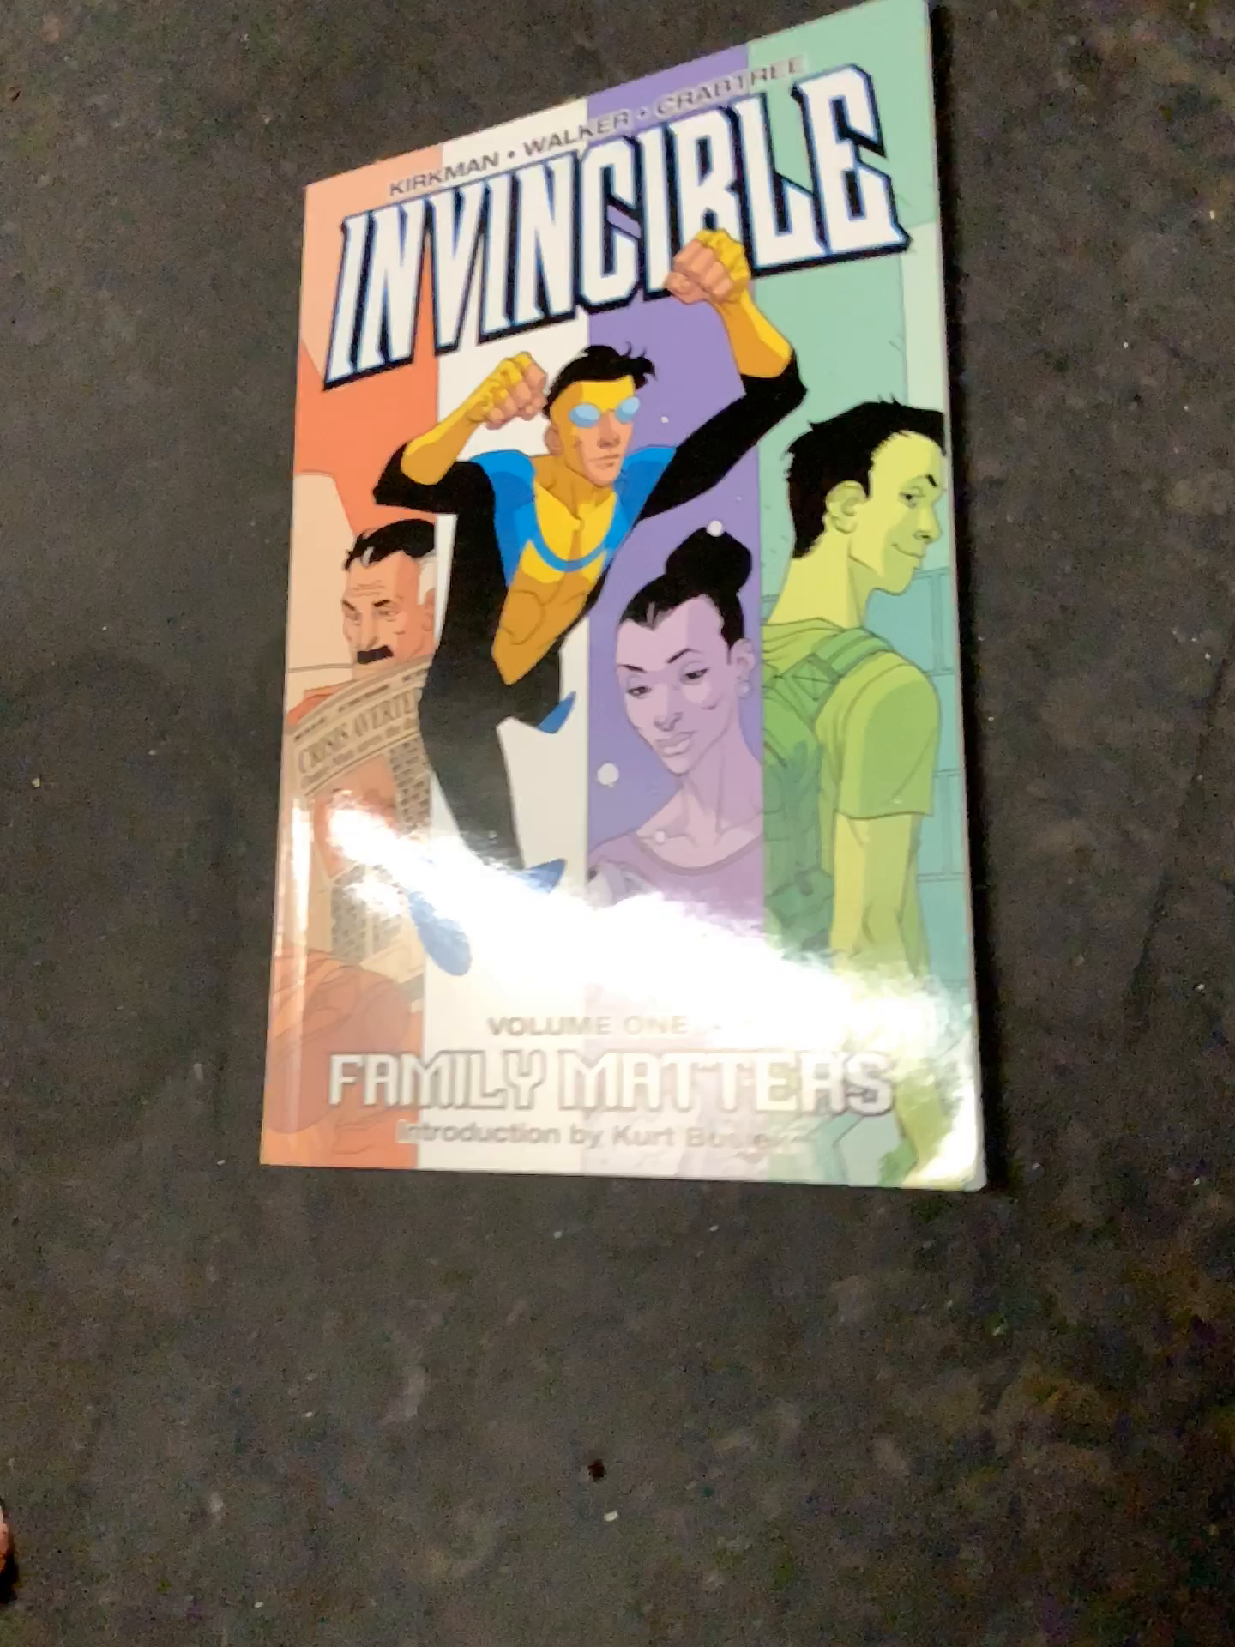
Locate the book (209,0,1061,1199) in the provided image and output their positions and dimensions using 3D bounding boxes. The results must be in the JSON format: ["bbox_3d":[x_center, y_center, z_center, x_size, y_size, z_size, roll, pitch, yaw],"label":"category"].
[{"bbox_3d":[-0.005,-0.057,0.309,0.180,0.020,0.270,-6,75,24],"label":"book"}]
